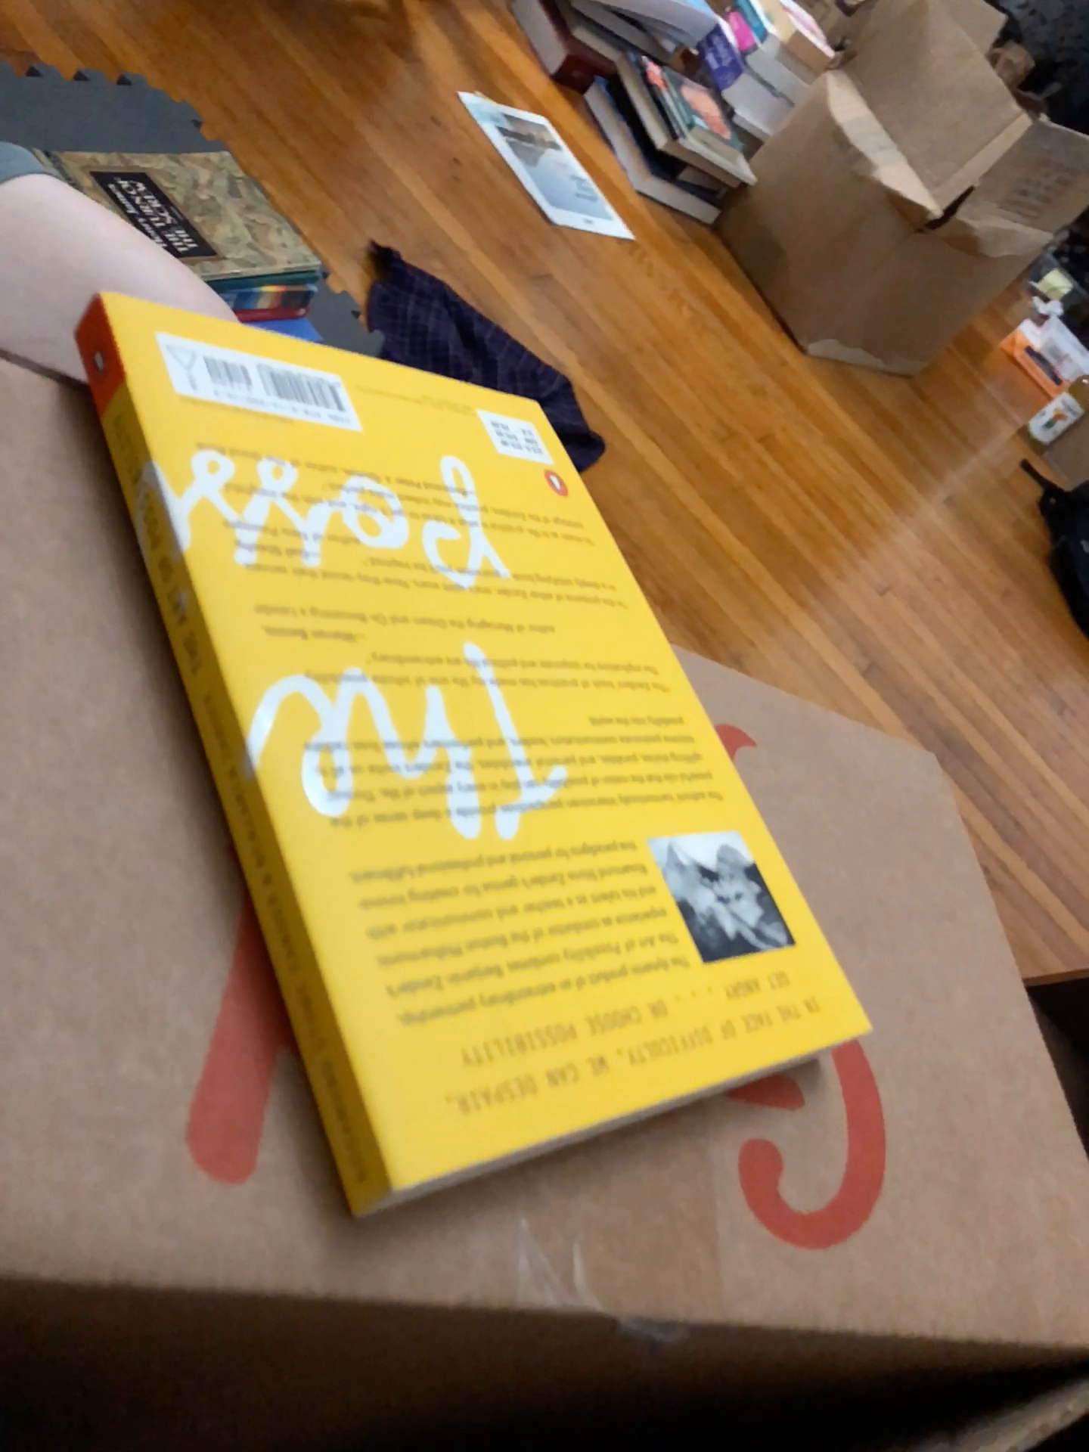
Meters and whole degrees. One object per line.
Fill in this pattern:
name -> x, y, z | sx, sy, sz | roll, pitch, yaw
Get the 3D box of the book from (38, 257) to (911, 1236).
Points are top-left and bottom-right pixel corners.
book -> -0.015, -0.012, 0.280 | 0.151, 0.020, 0.210 | -1, 56, -43
